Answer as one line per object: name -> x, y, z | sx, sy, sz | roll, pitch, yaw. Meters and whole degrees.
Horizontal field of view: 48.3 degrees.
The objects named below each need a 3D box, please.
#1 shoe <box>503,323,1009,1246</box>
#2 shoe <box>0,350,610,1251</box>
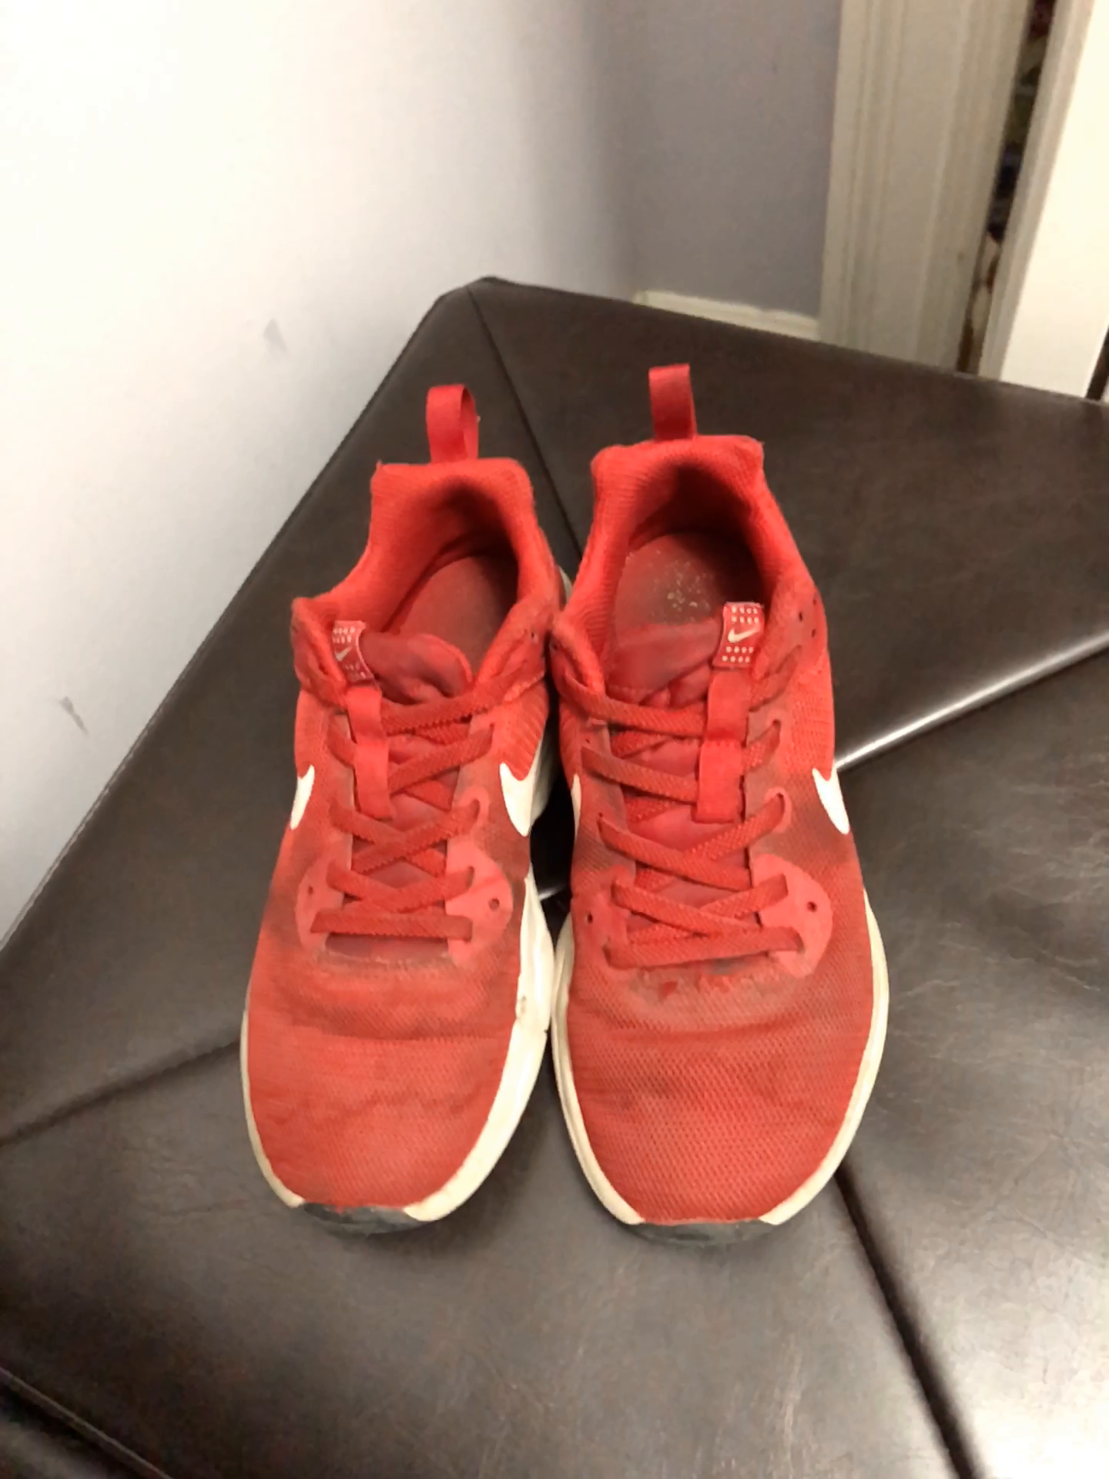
shoe -> 0.044, 0.012, 0.330 | 0.095, 0.100, 0.220 | -3, 63, 7
shoe -> -0.049, 0.012, 0.341 | 0.095, 0.100, 0.220 | 4, 64, 10
